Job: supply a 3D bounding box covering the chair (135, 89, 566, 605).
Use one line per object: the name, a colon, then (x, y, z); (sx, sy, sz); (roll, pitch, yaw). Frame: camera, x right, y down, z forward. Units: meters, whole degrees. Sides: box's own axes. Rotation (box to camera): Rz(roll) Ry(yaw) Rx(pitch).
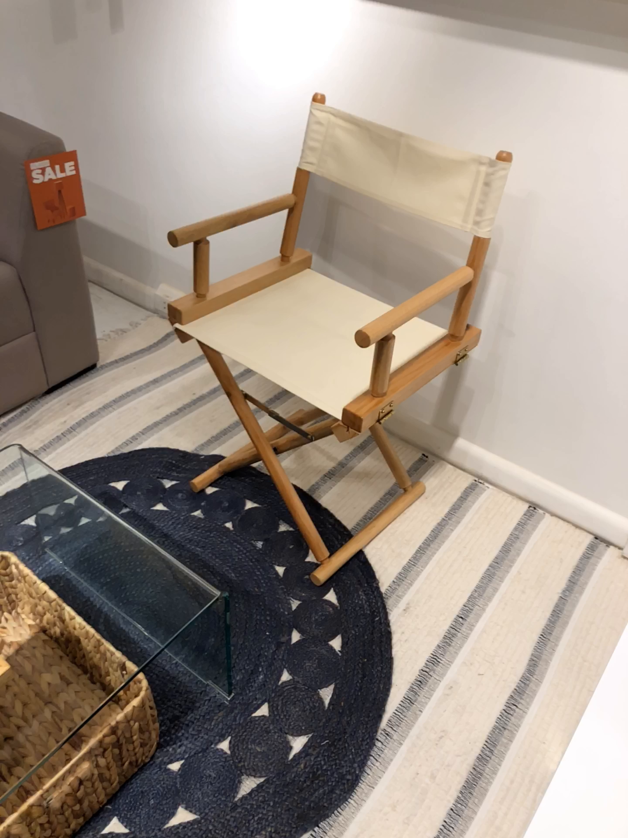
chair: (0.051, -0.175, 1.473); (0.542, 0.793, 0.563); (30, 45, 28)
